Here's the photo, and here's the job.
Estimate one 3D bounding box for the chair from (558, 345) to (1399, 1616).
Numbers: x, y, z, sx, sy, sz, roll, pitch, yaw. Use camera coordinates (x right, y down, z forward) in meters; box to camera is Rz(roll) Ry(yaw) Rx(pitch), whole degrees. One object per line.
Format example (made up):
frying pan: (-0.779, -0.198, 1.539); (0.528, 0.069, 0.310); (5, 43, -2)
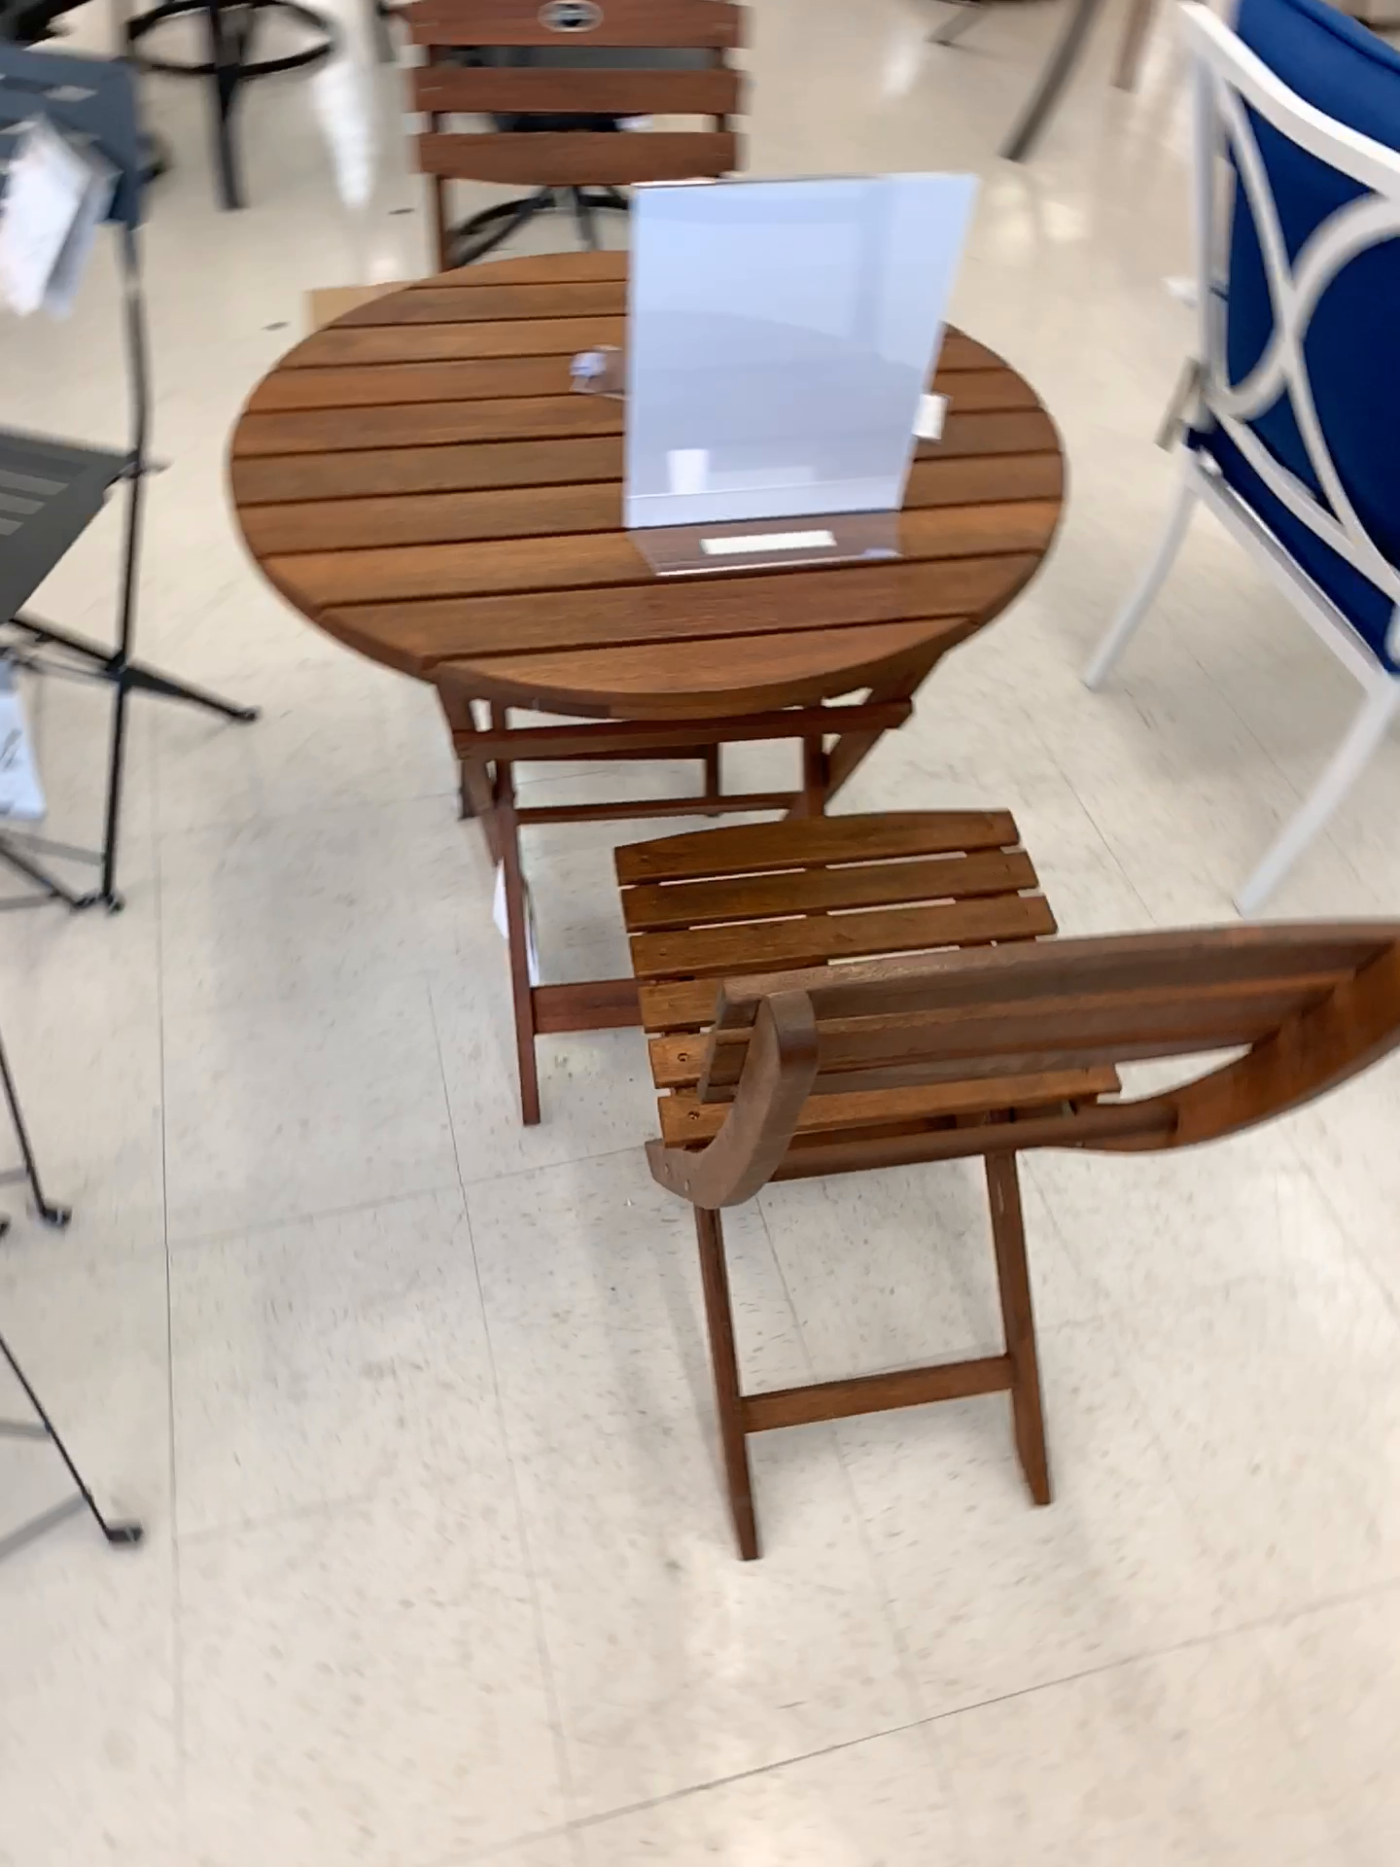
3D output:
chair: (0.167, 0.074, 1.094); (0.440, 0.777, 0.551); (-8, 50, -9)
